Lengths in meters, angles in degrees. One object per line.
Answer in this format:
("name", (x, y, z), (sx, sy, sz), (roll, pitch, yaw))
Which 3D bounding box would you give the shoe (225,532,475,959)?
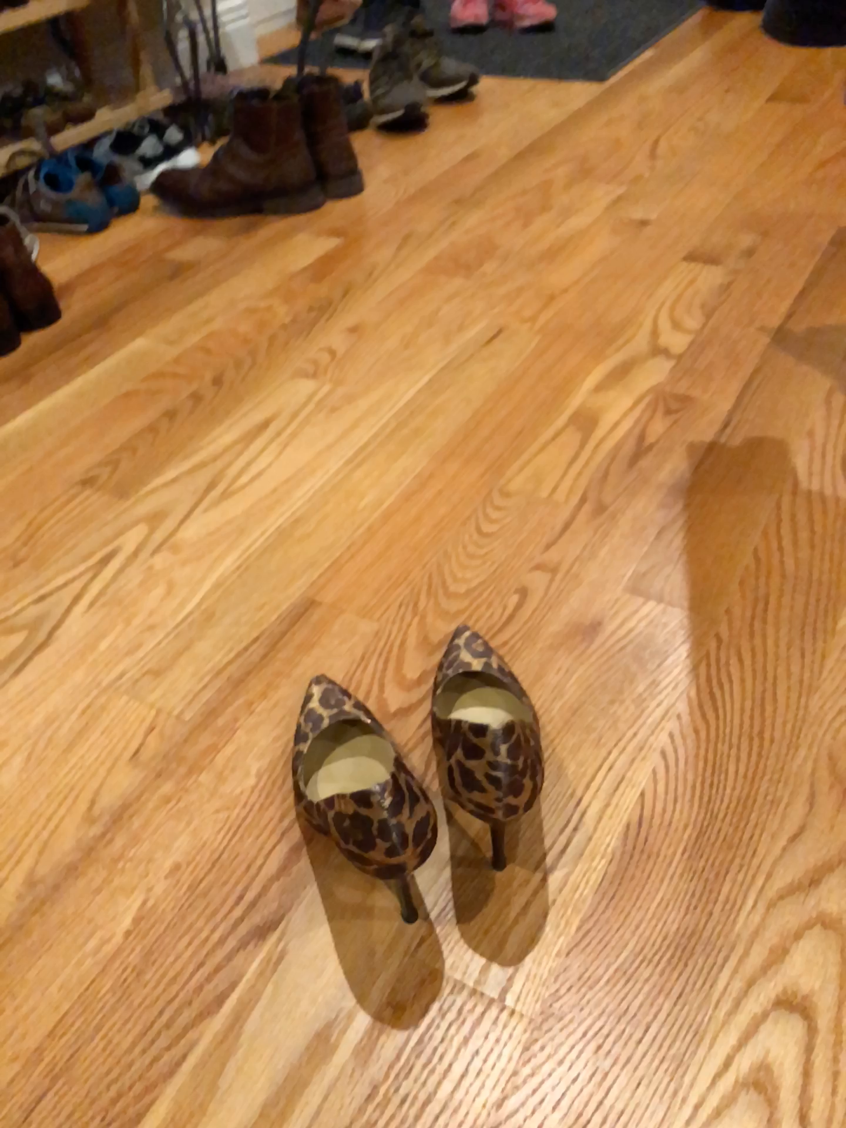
("shoe", (-0.051, 0.108, 0.607), (0.084, 0.144, 0.219), (-17, 41, -12))

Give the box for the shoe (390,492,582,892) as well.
("shoe", (0.037, 0.078, 0.631), (0.083, 0.144, 0.220), (-8, 40, -2))
